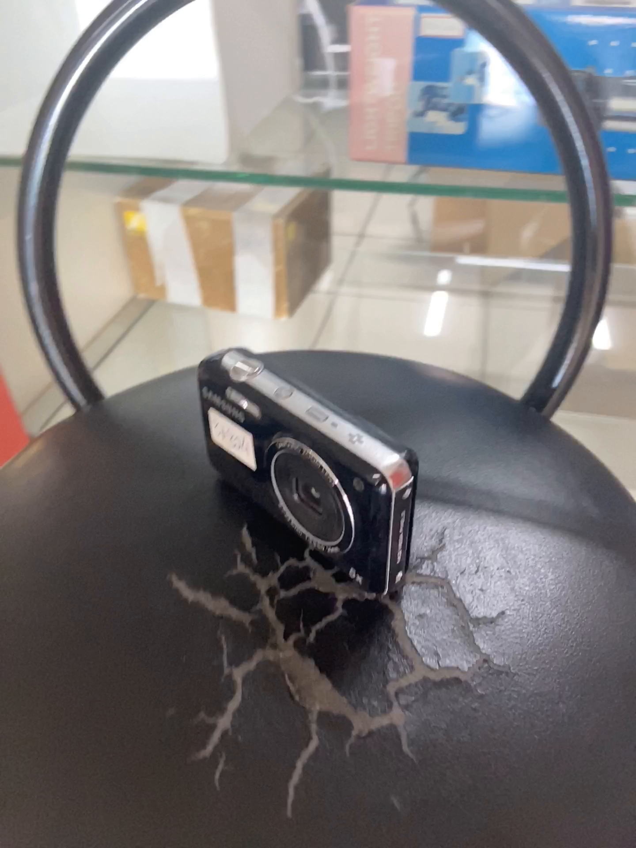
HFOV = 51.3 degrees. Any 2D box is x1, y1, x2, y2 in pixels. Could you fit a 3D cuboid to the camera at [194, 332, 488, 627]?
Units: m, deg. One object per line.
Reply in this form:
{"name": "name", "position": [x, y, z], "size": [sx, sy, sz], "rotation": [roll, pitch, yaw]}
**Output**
{"name": "camera", "position": [0.003, 0.014, 0.223], "size": [0.030, 0.050, 0.100], "rotation": [-32, 46, -32]}
